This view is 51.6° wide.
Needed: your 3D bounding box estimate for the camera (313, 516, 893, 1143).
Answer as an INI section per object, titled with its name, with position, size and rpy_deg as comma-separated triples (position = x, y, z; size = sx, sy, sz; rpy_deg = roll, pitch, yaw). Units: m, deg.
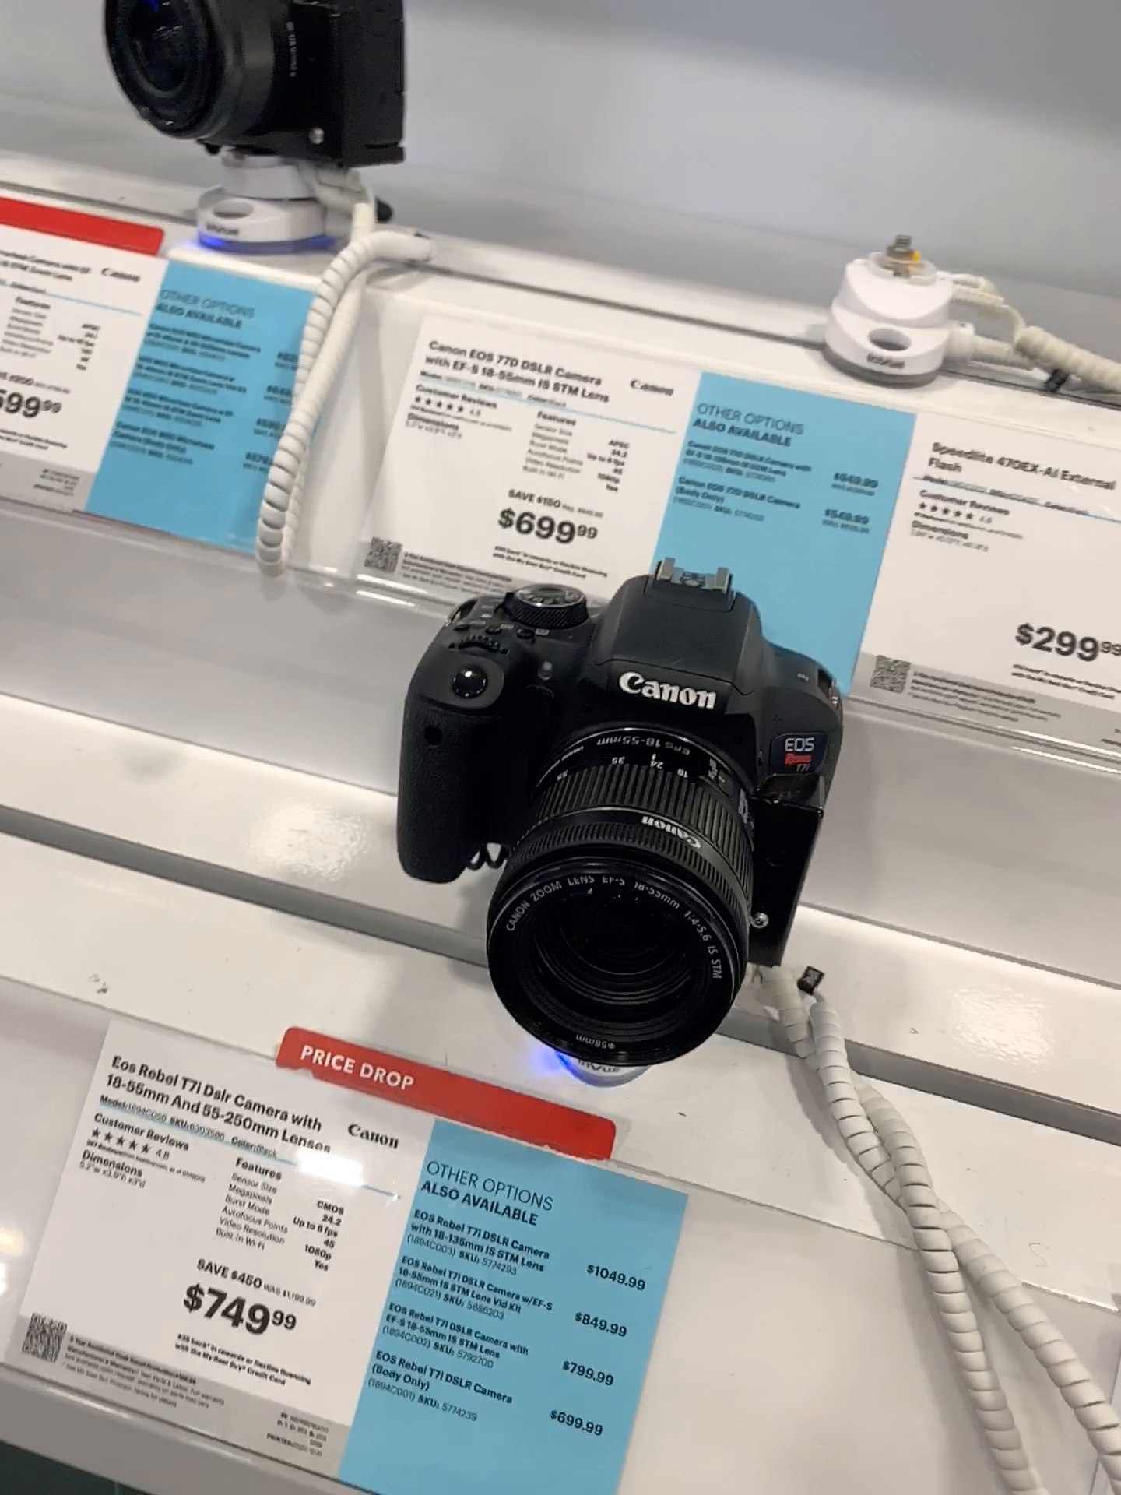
[camera]
position = 0.015, 0.014, 0.341
size = 0.130, 0.099, 0.139
rpy_deg = 11, 32, 5
